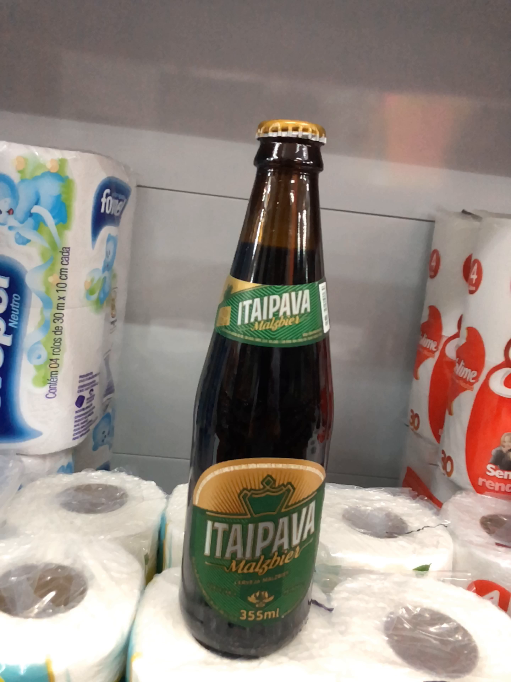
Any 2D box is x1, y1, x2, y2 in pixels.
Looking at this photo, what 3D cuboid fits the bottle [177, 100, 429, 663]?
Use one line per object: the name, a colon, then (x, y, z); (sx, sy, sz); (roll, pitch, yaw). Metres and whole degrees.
bottle: (0.011, 0.022, 0.247); (0.070, 0.219, 0.060); (5, 12, -9)
